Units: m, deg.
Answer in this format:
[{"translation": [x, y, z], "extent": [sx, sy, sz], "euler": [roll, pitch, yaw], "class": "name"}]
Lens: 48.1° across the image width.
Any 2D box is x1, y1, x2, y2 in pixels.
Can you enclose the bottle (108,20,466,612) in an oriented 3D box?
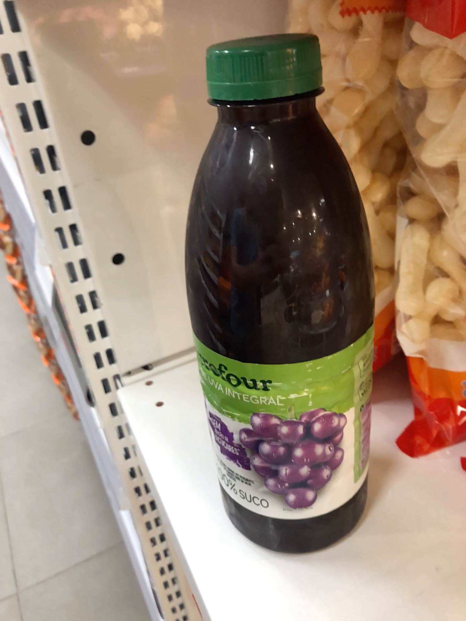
[{"translation": [0.029, 0.009, 0.227], "extent": [0.080, 0.228, 0.090], "euler": [-31, 40, -32], "class": "bottle"}]
